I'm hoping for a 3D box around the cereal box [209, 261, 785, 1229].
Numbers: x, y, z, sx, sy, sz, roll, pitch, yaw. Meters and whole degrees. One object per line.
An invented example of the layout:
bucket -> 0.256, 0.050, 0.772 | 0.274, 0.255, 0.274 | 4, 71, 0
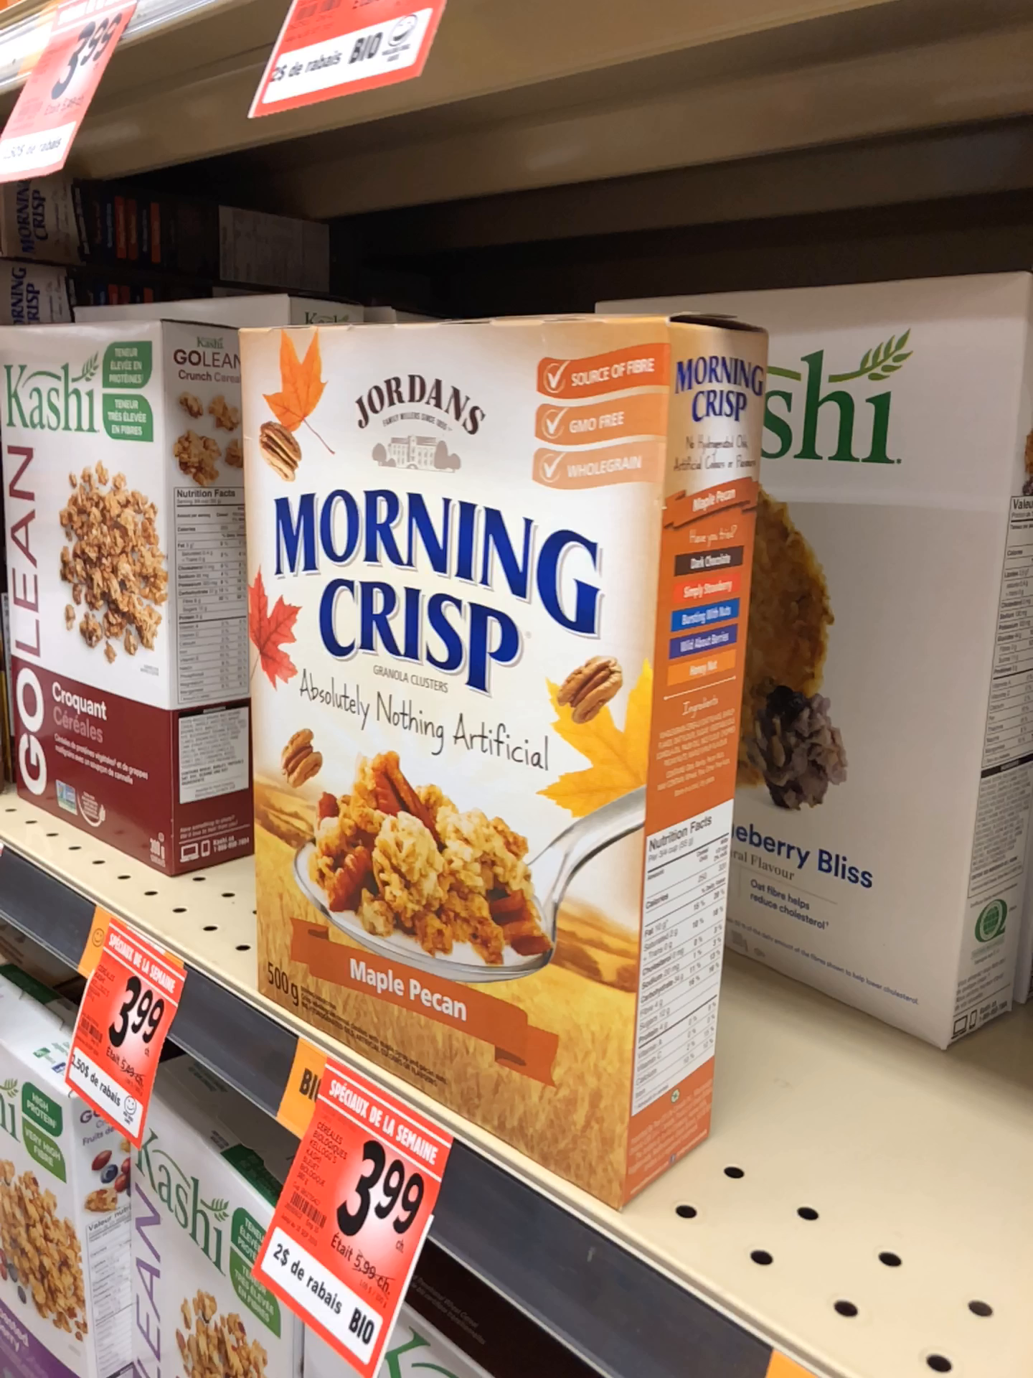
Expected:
cereal box -> -0.021, 0.004, 0.373 | 0.191, 0.259, 0.050 | 15, 19, 41
